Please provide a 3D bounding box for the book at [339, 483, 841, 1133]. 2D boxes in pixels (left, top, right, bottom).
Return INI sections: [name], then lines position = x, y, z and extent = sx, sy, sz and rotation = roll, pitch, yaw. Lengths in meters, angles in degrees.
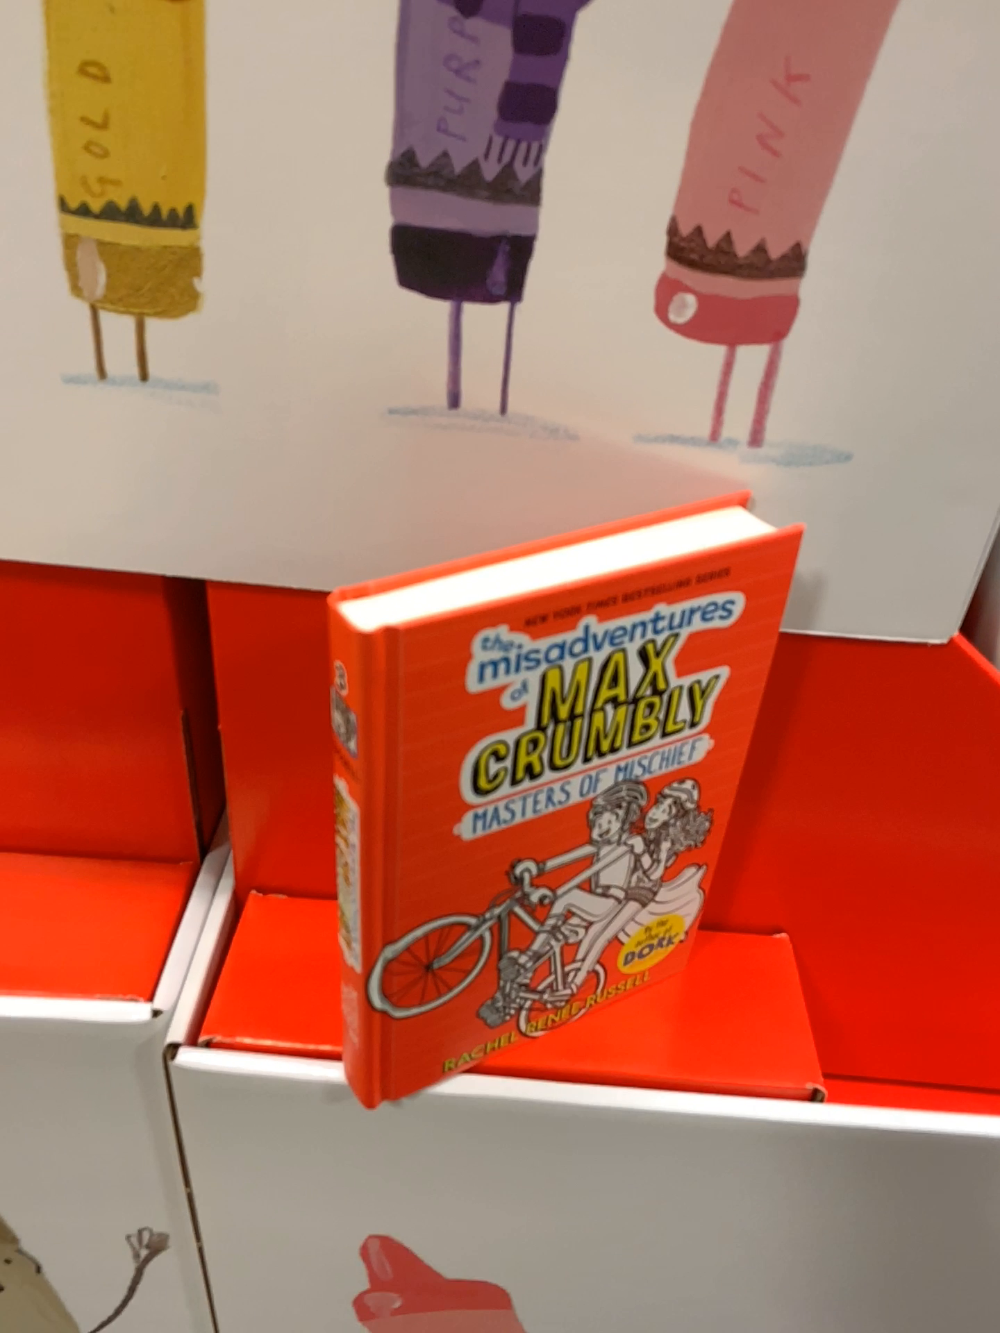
[book]
position = 0.020, 0.051, 0.329
extent = 0.142, 0.201, 0.031
rotation = -17, 43, -29
